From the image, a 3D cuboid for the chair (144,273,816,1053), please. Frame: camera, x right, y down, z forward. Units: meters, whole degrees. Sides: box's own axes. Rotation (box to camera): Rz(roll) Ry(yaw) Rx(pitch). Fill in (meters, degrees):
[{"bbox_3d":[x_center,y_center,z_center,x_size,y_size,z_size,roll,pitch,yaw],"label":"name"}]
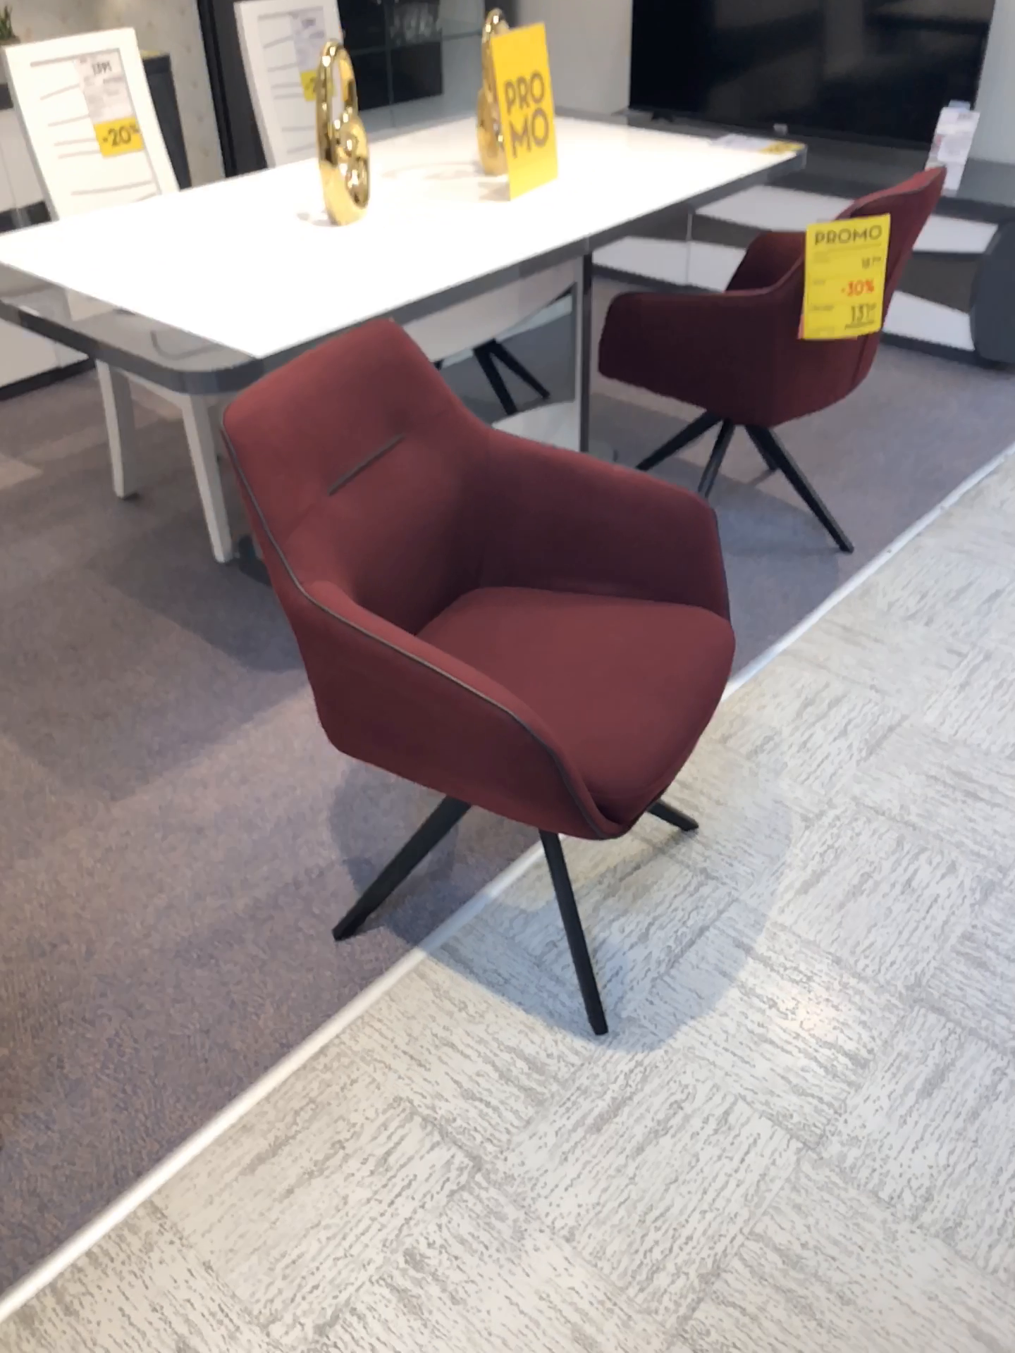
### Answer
[{"bbox_3d":[0.006,-0.051,1.503,0.570,0.735,0.584,16,40,22],"label":"chair"}]
